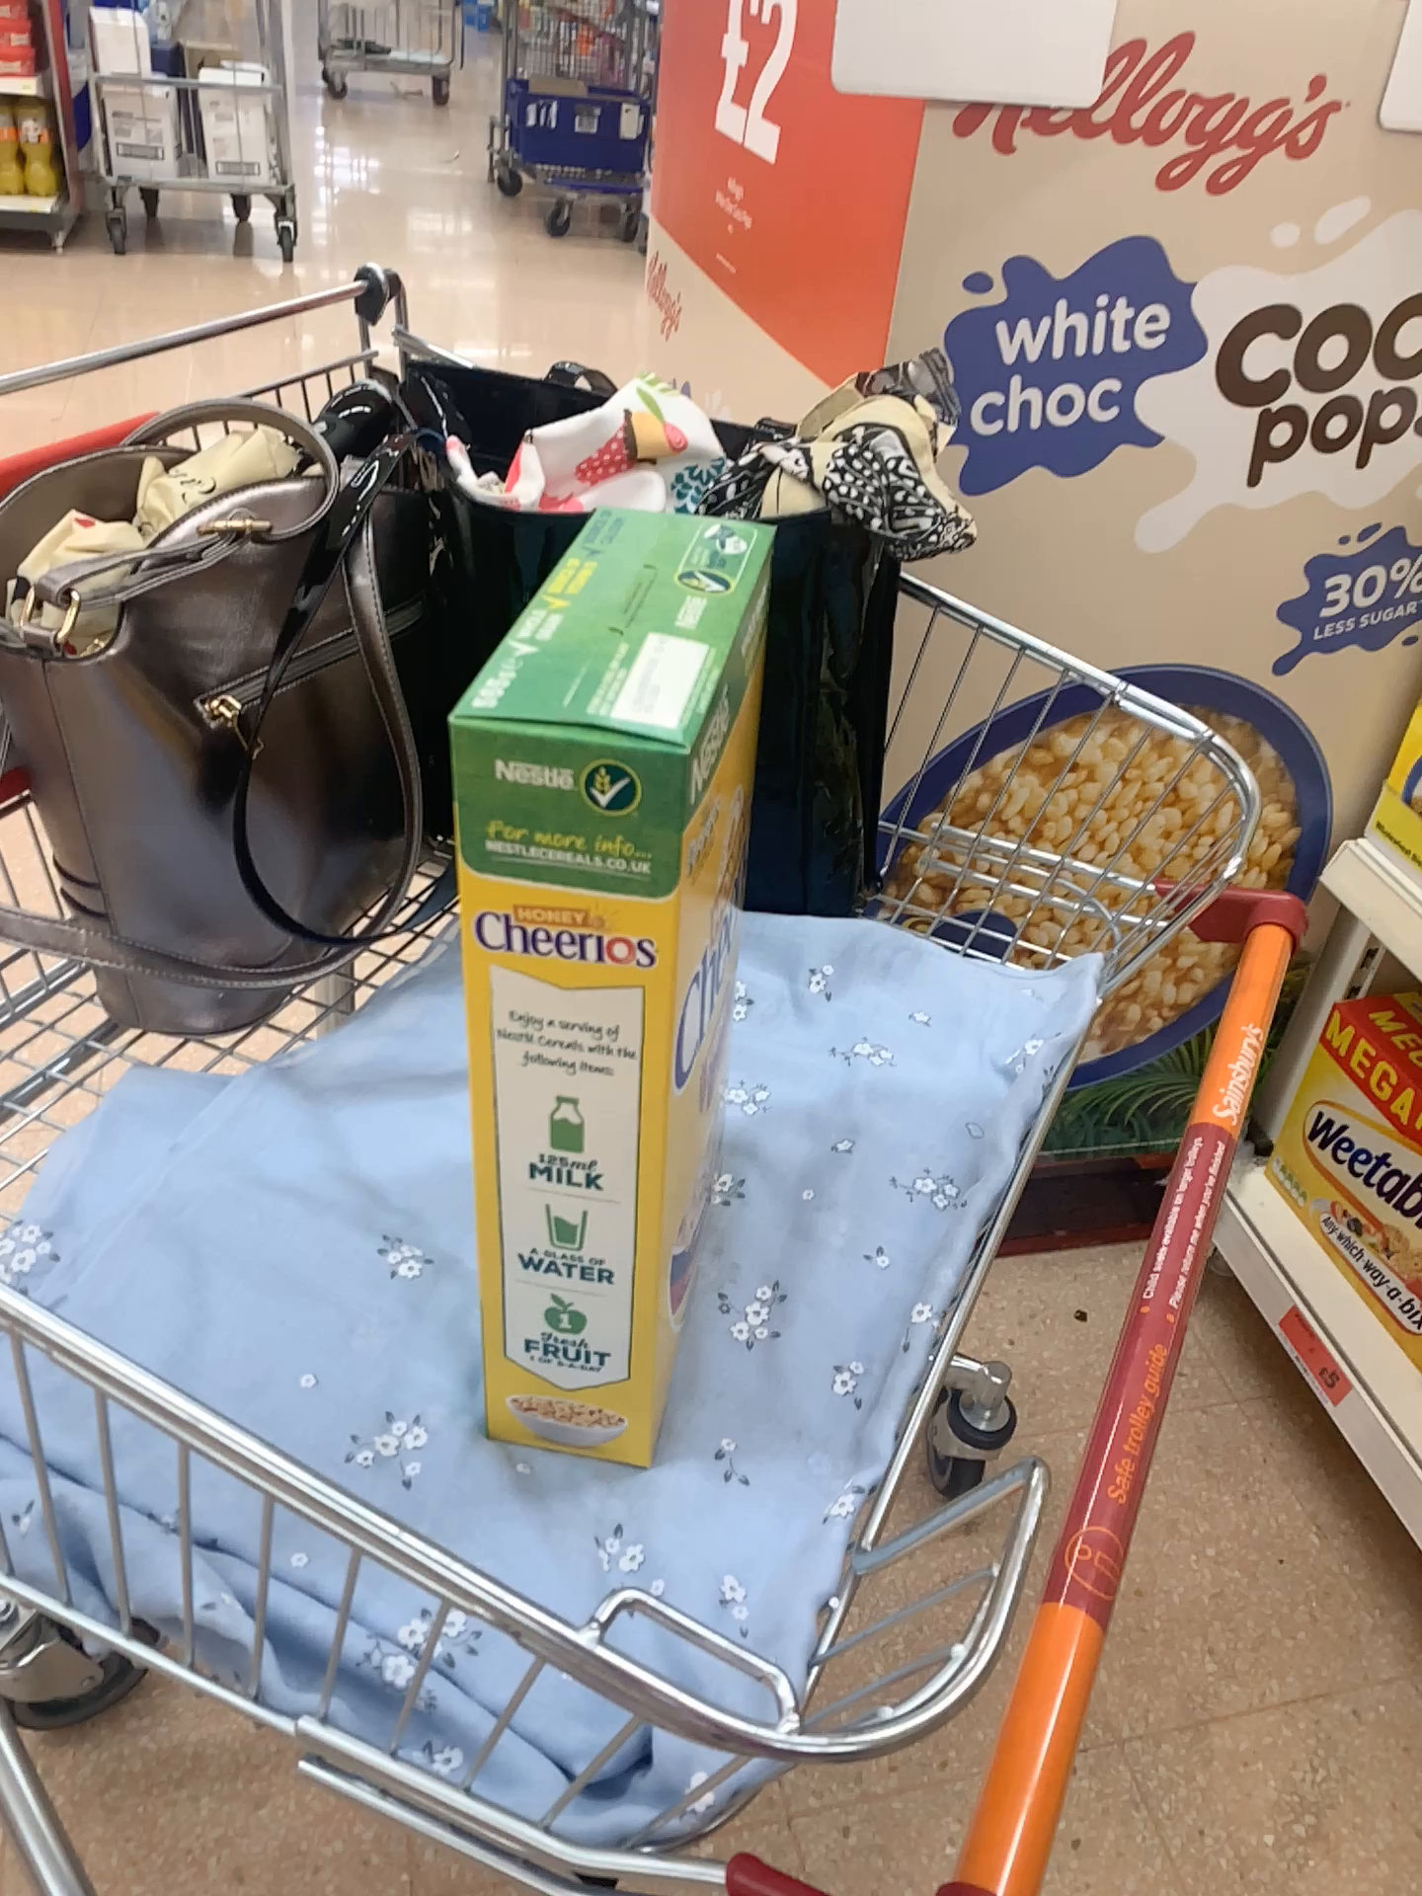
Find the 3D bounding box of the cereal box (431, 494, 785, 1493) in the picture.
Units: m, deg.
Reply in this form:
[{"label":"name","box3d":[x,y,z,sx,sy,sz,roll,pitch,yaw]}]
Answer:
[{"label":"cereal box","box3d":[-0.038,0.022,0.600,0.080,0.347,0.212,8,35,5]}]
